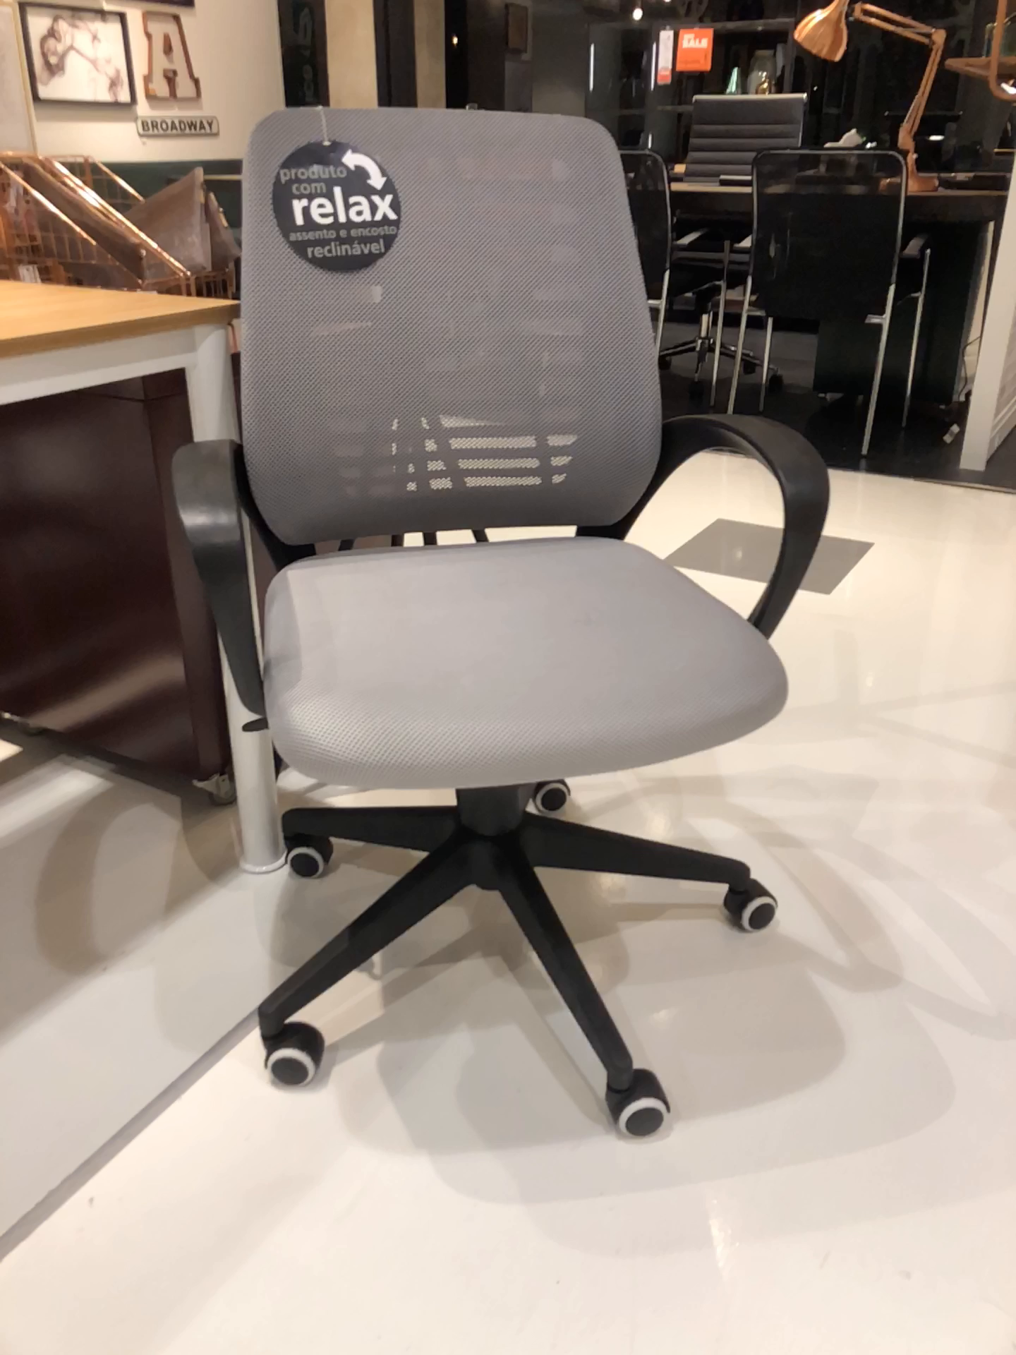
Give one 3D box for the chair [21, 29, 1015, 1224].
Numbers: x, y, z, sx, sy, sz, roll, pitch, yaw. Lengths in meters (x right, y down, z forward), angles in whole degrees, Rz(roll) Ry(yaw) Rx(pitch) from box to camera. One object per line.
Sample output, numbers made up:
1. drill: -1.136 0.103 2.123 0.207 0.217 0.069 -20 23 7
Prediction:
1. chair: 0.012 -0.105 1.091 0.660 0.854 0.664 -5 25 -11
